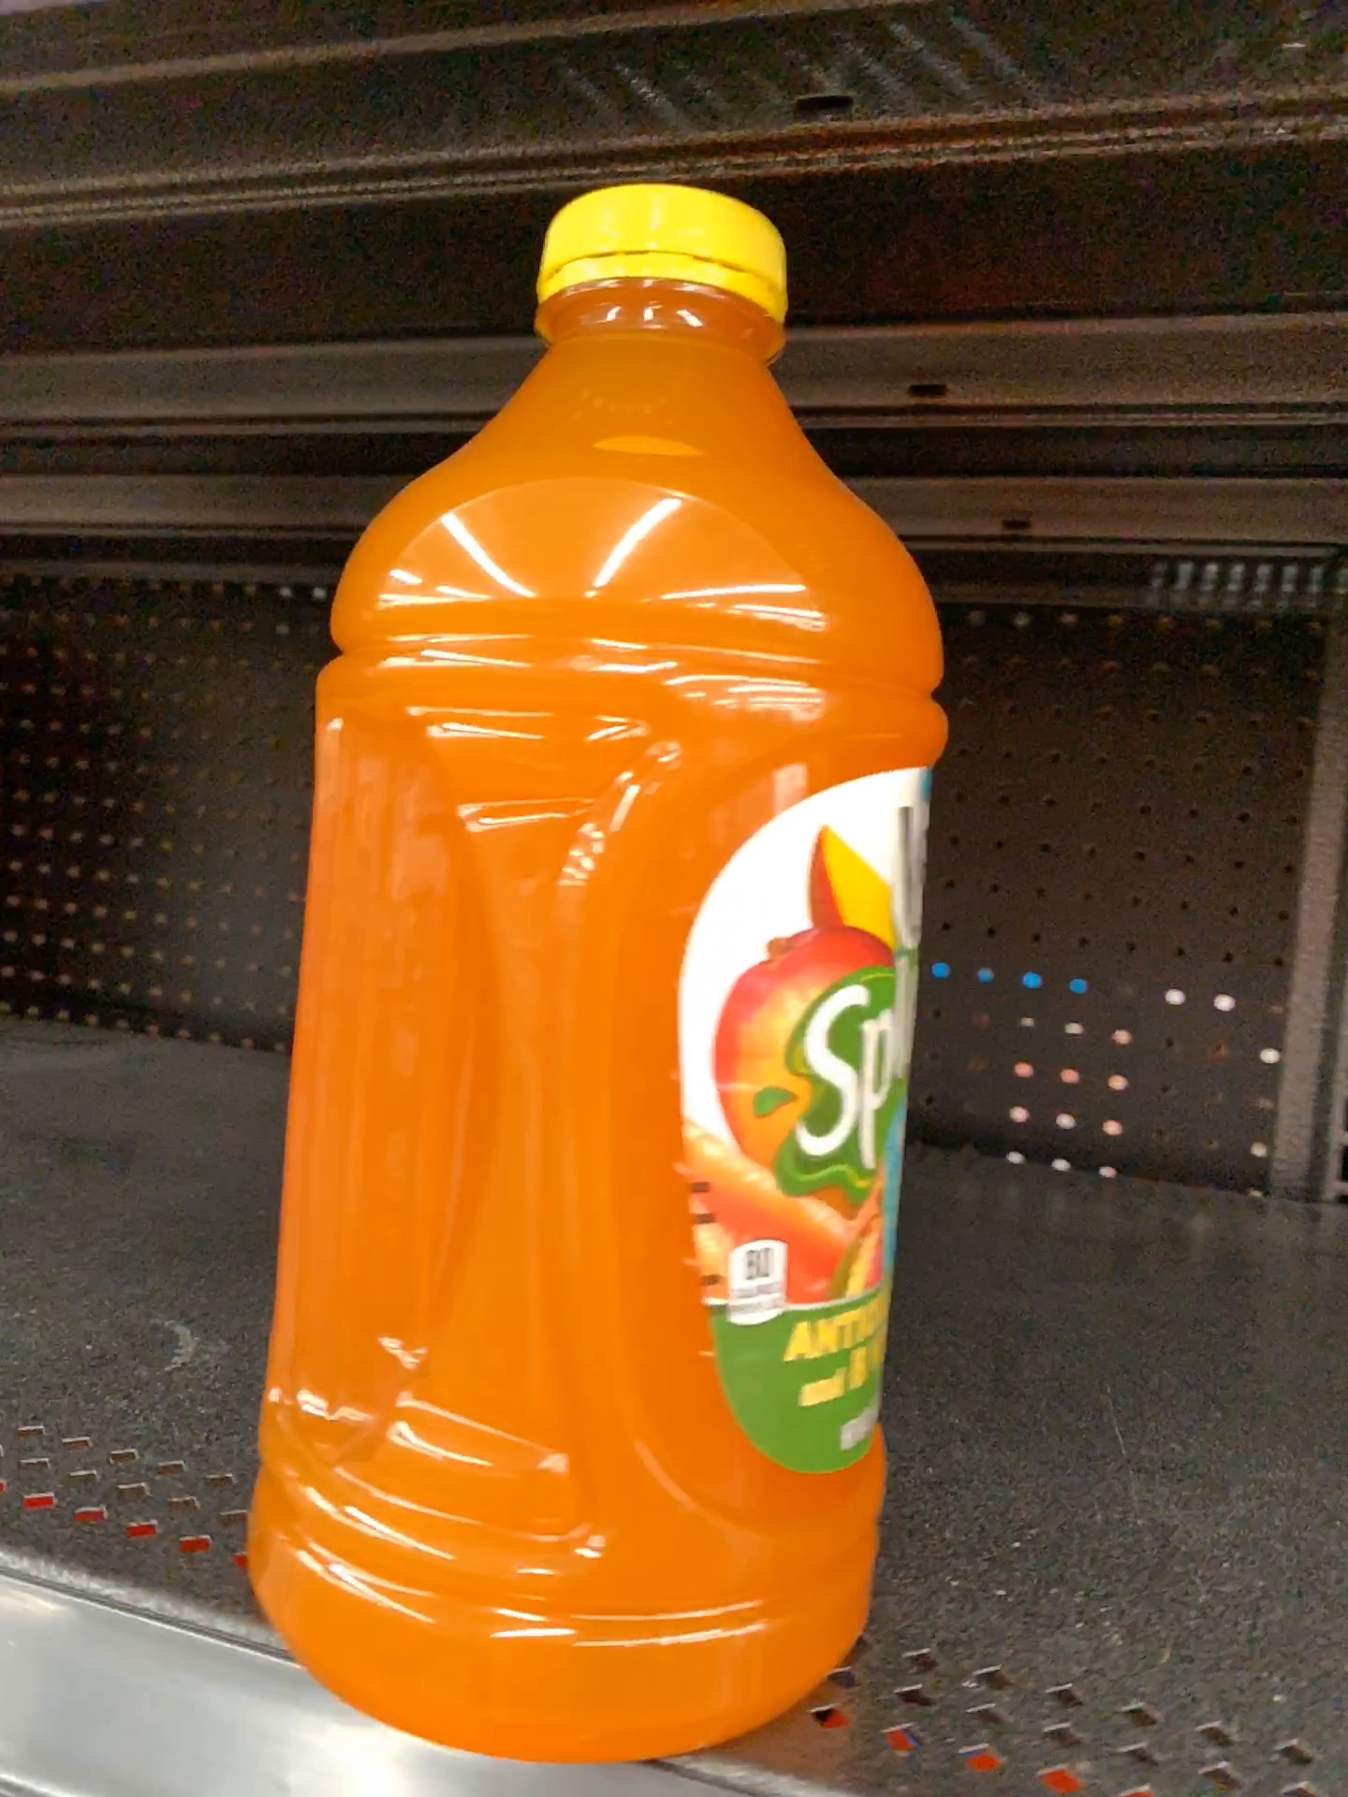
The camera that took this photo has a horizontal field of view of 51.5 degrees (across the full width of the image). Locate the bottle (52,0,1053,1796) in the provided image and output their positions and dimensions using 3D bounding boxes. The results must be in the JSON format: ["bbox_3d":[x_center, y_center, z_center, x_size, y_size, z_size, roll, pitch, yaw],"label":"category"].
[{"bbox_3d":[-0.010,0.000,0.265,0.125,0.260,0.128,5,2,0],"label":"bottle"}]
